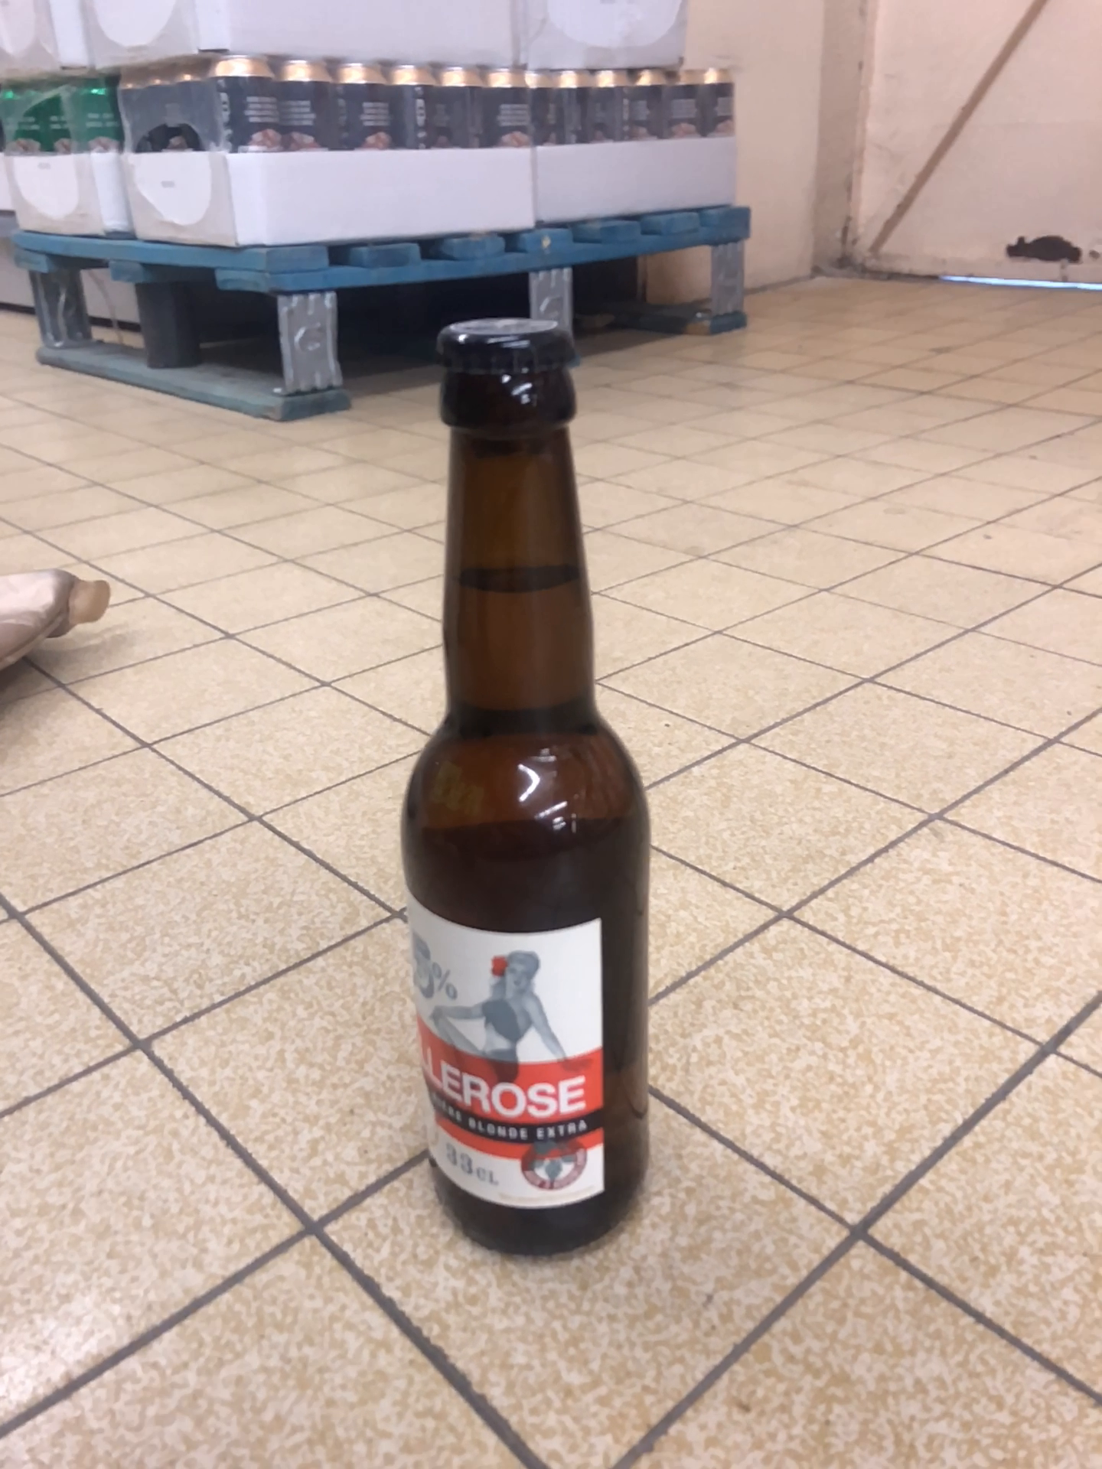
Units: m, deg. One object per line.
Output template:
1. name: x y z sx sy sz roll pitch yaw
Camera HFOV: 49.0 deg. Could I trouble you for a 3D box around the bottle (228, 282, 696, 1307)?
1. bottle: -0.013 0.016 0.281 0.060 0.219 0.070 15 30 32
